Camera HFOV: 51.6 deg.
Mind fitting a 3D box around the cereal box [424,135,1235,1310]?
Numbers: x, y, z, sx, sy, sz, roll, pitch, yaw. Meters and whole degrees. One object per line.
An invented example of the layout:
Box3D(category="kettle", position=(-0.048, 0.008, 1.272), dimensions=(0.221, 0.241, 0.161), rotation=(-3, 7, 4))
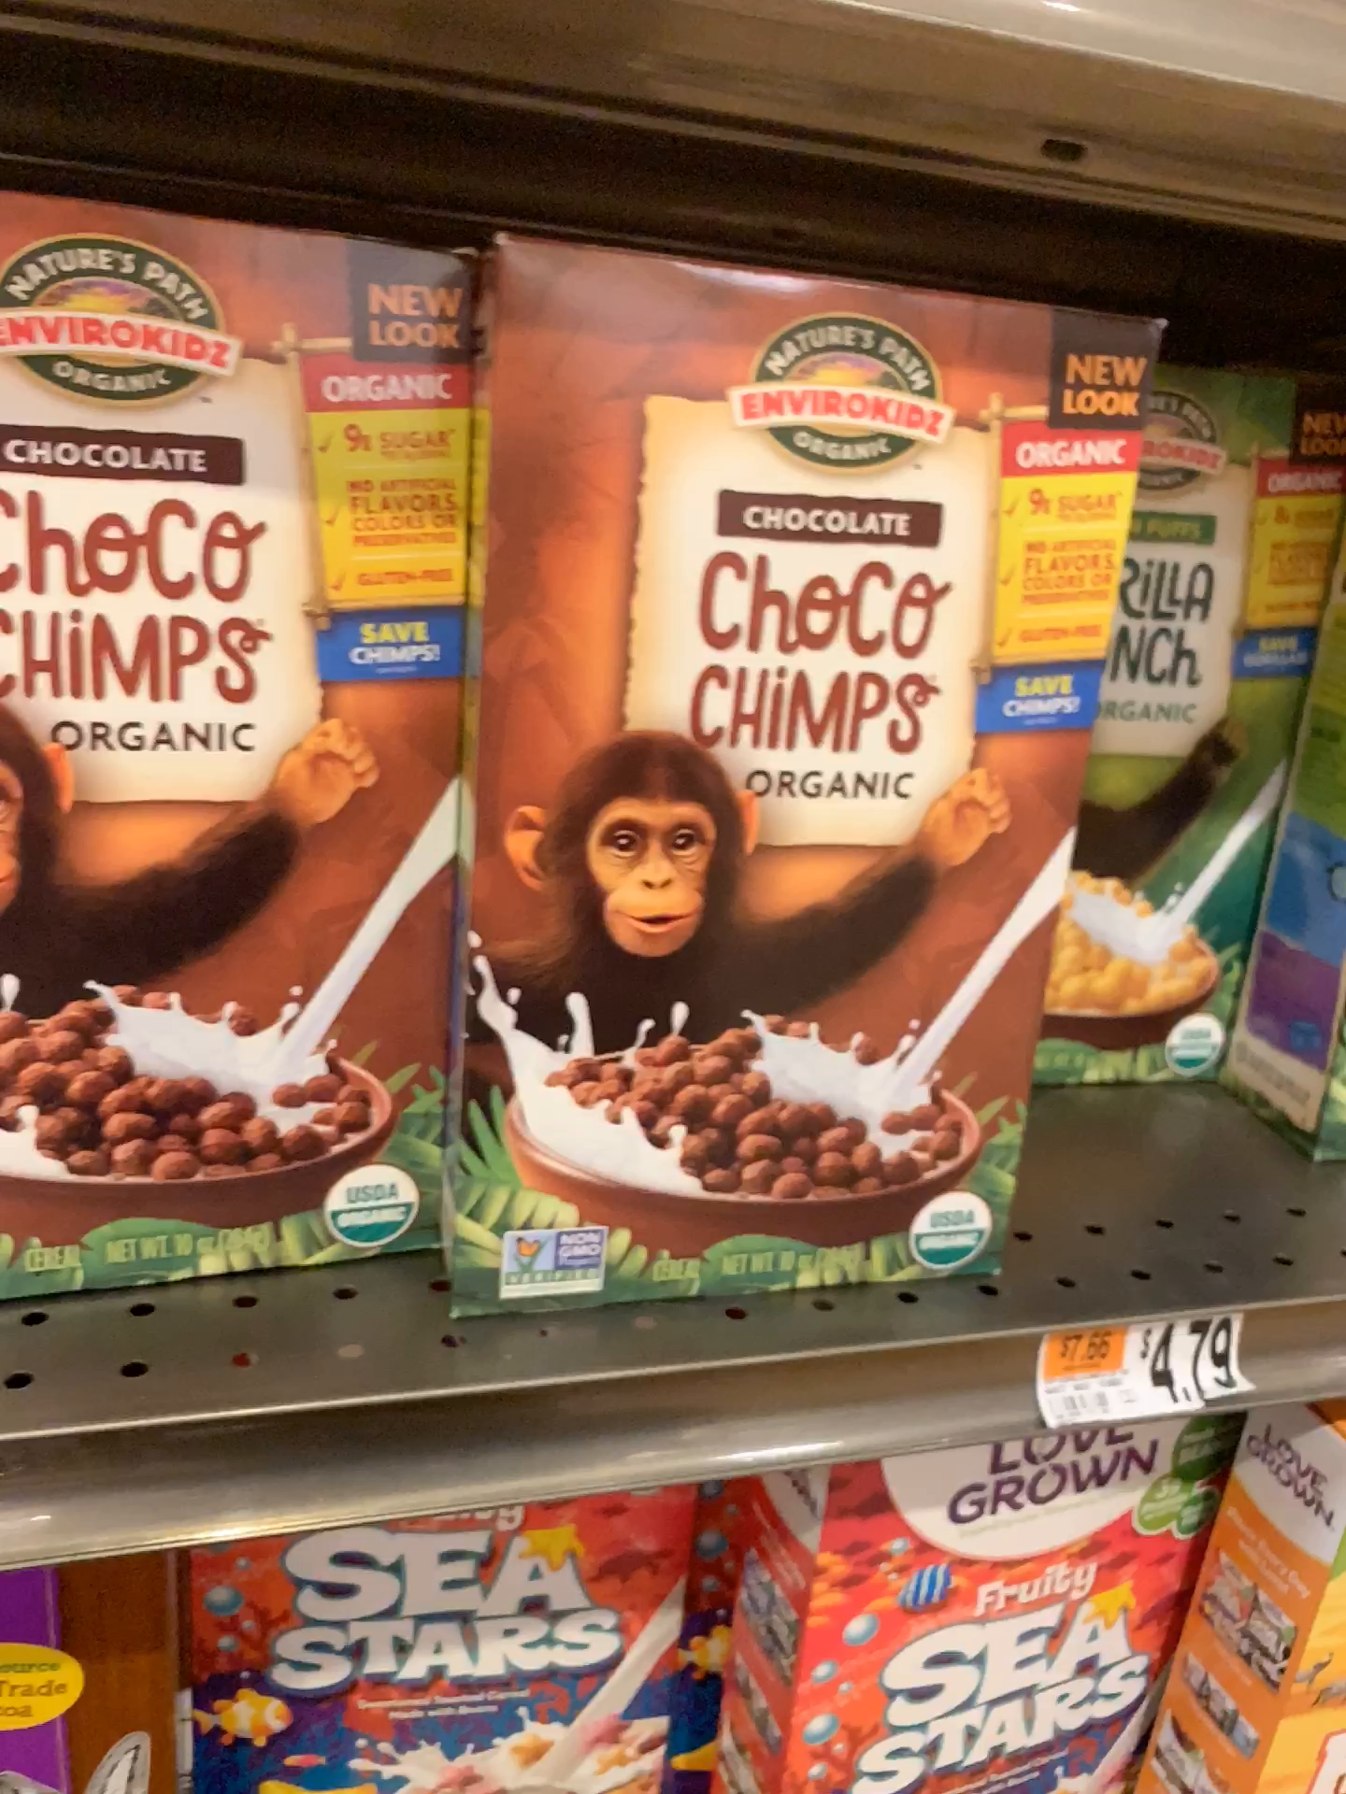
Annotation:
Box3D(category="cereal box", position=(0.029, -0.032, 0.367), dimensions=(0.170, 0.269, 0.060), rotation=(0, 18, -17))
